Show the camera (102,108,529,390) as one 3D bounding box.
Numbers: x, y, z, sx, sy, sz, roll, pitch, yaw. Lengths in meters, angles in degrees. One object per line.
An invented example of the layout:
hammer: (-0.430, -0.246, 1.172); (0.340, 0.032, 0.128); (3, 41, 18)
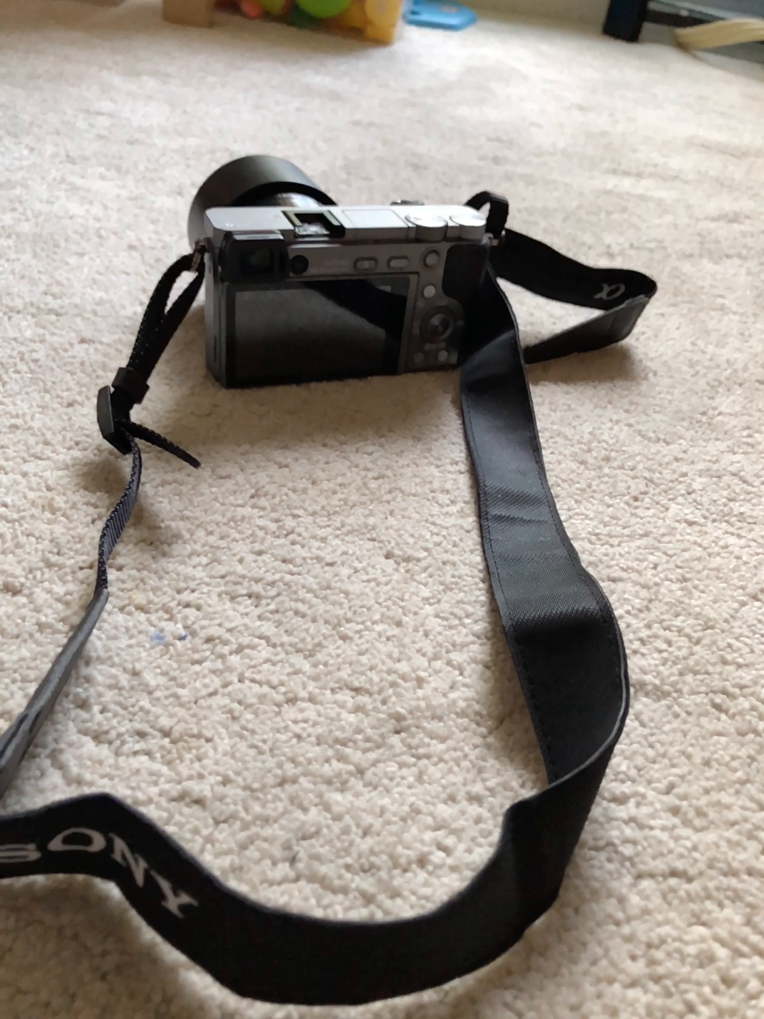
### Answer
camera: (-0.033, -0.115, 0.357); (0.140, 0.070, 0.110); (-9, 40, -23)
